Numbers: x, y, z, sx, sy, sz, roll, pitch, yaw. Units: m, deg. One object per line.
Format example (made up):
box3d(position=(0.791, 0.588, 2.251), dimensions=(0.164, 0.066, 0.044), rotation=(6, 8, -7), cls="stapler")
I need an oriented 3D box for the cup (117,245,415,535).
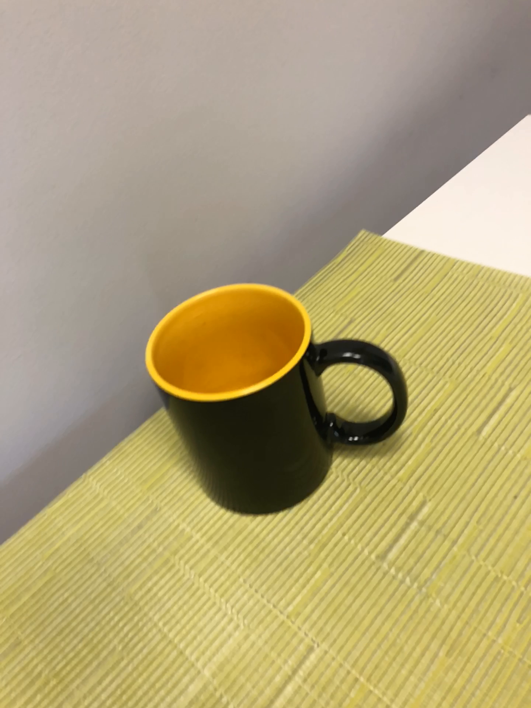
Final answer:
box3d(position=(0.008, 0.021, 0.302), dimensions=(0.119, 0.104, 0.089), rotation=(-7, 43, 8), cls="cup")
